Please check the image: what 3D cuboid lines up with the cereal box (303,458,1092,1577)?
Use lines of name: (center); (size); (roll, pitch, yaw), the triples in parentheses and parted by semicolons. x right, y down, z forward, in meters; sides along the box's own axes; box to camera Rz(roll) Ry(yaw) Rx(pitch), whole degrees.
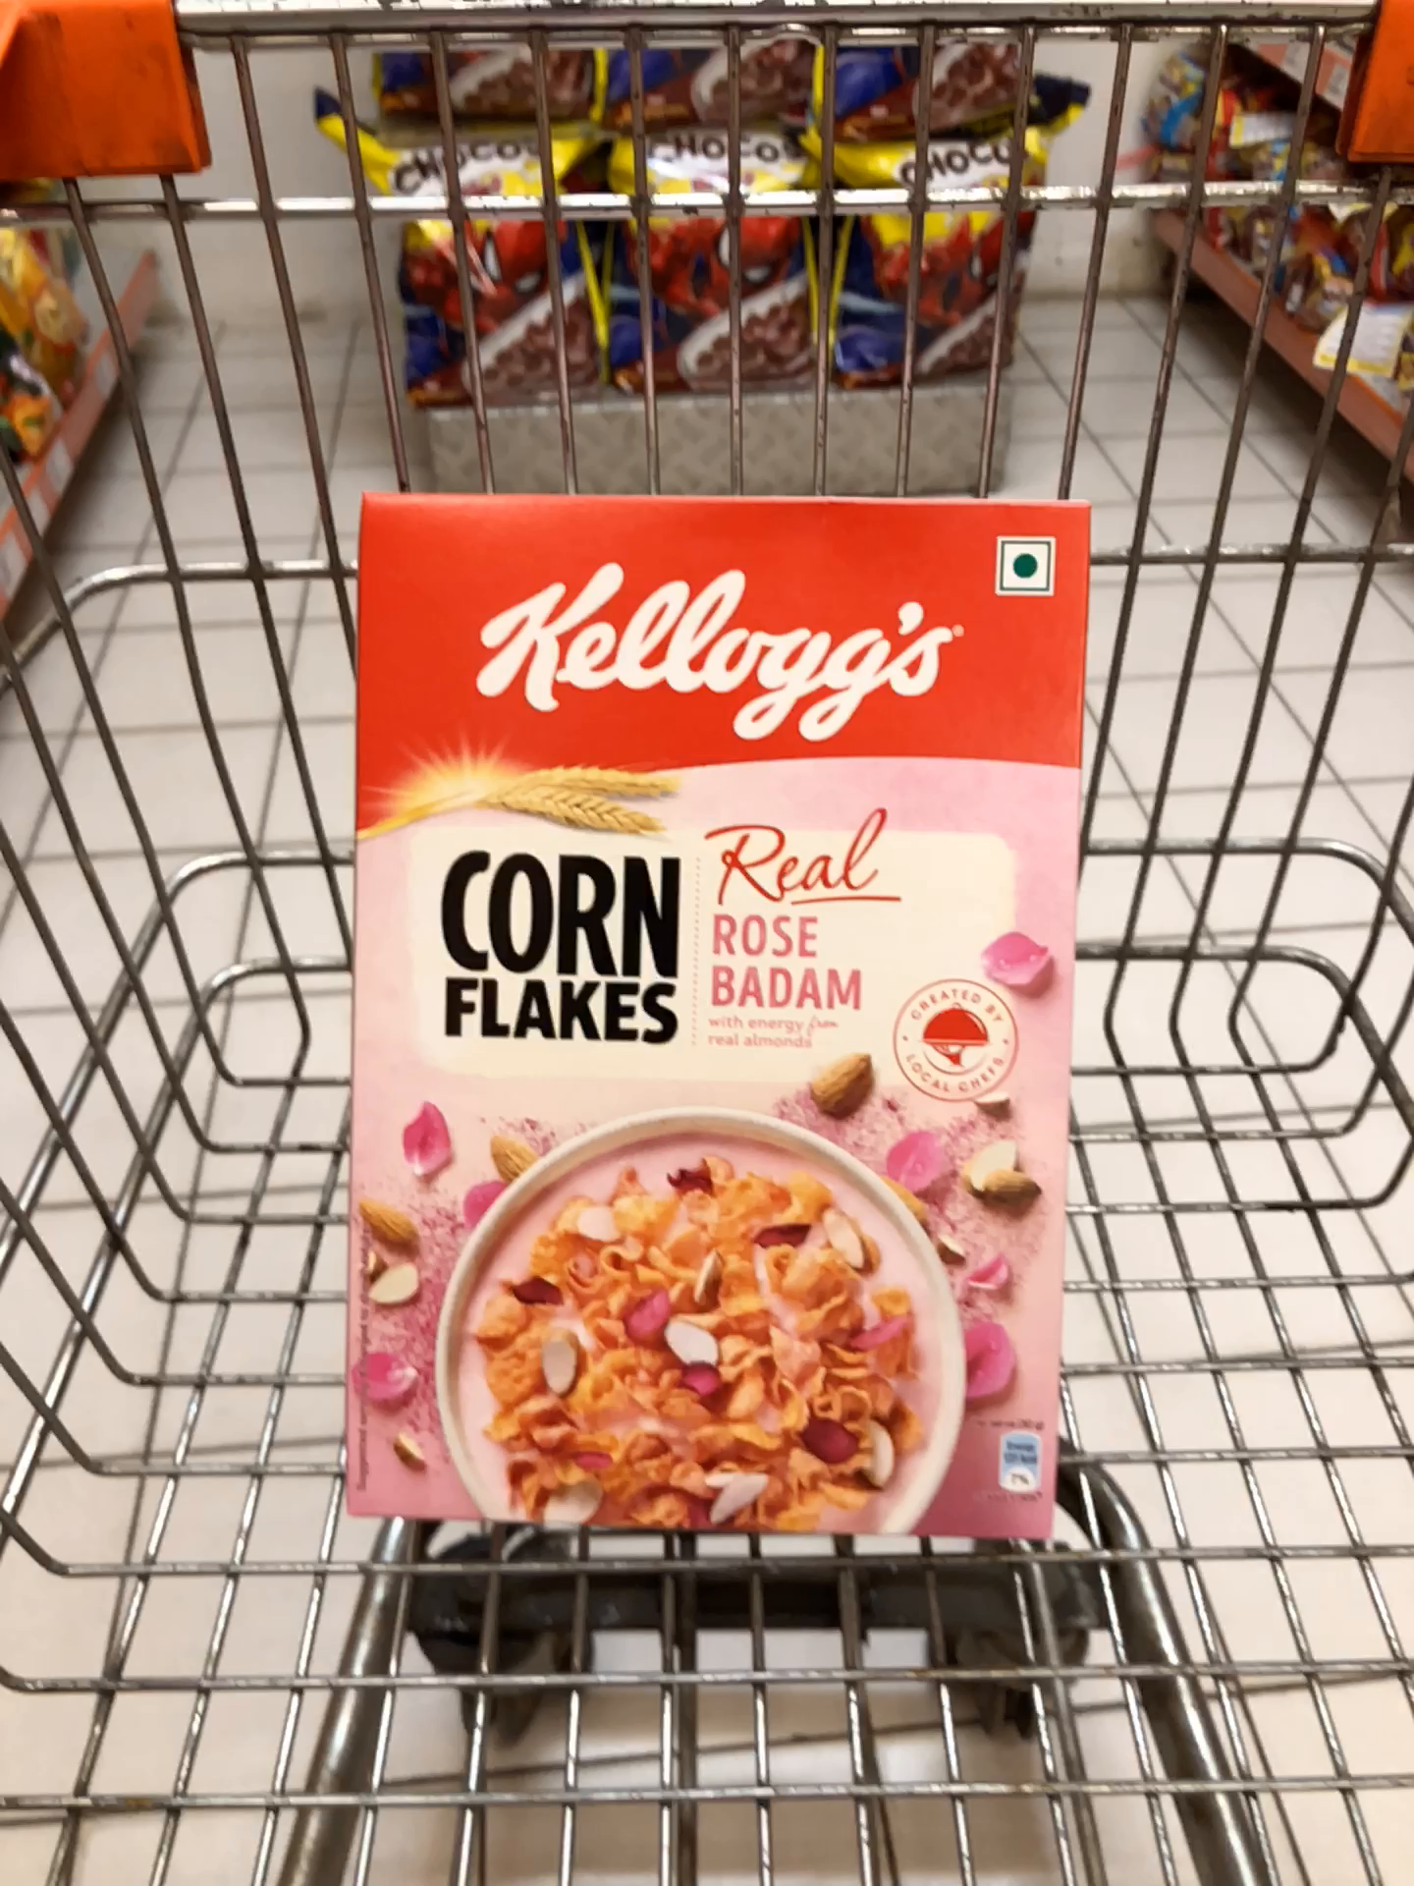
cereal box: (-0.003, 0.016, 0.411); (0.180, 0.260, 0.080); (1, 2, 2)
